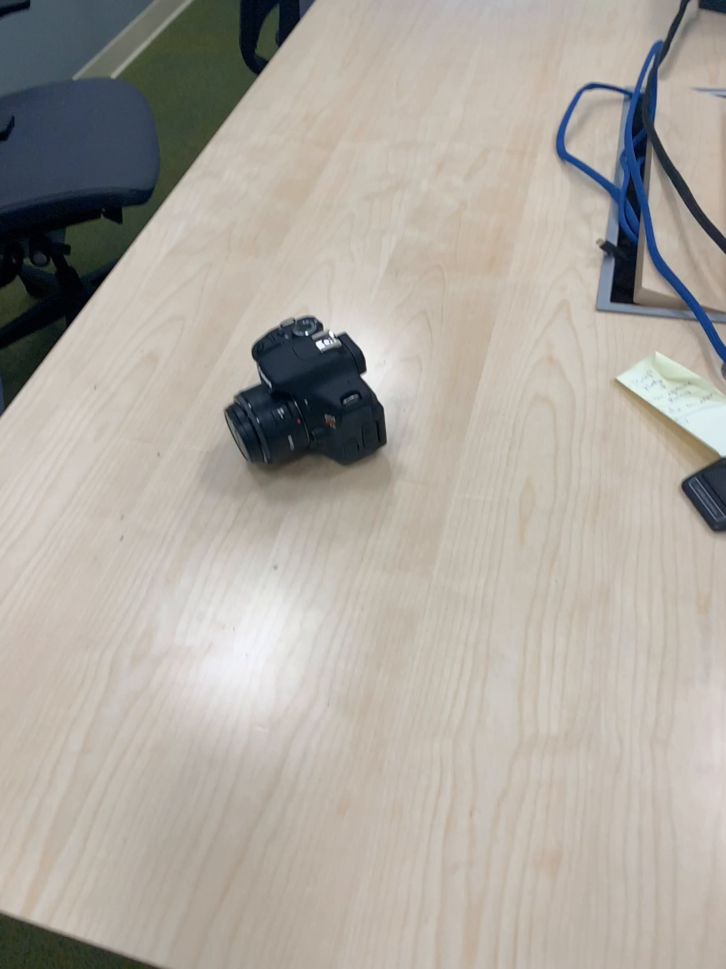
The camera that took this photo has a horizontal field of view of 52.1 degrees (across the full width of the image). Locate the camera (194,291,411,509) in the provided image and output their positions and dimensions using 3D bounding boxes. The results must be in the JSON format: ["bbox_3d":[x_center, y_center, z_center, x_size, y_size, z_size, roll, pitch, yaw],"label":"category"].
[{"bbox_3d":[-0.053,-0.078,0.654,0.131,0.080,0.141,-27,54,-15],"label":"camera"}]
